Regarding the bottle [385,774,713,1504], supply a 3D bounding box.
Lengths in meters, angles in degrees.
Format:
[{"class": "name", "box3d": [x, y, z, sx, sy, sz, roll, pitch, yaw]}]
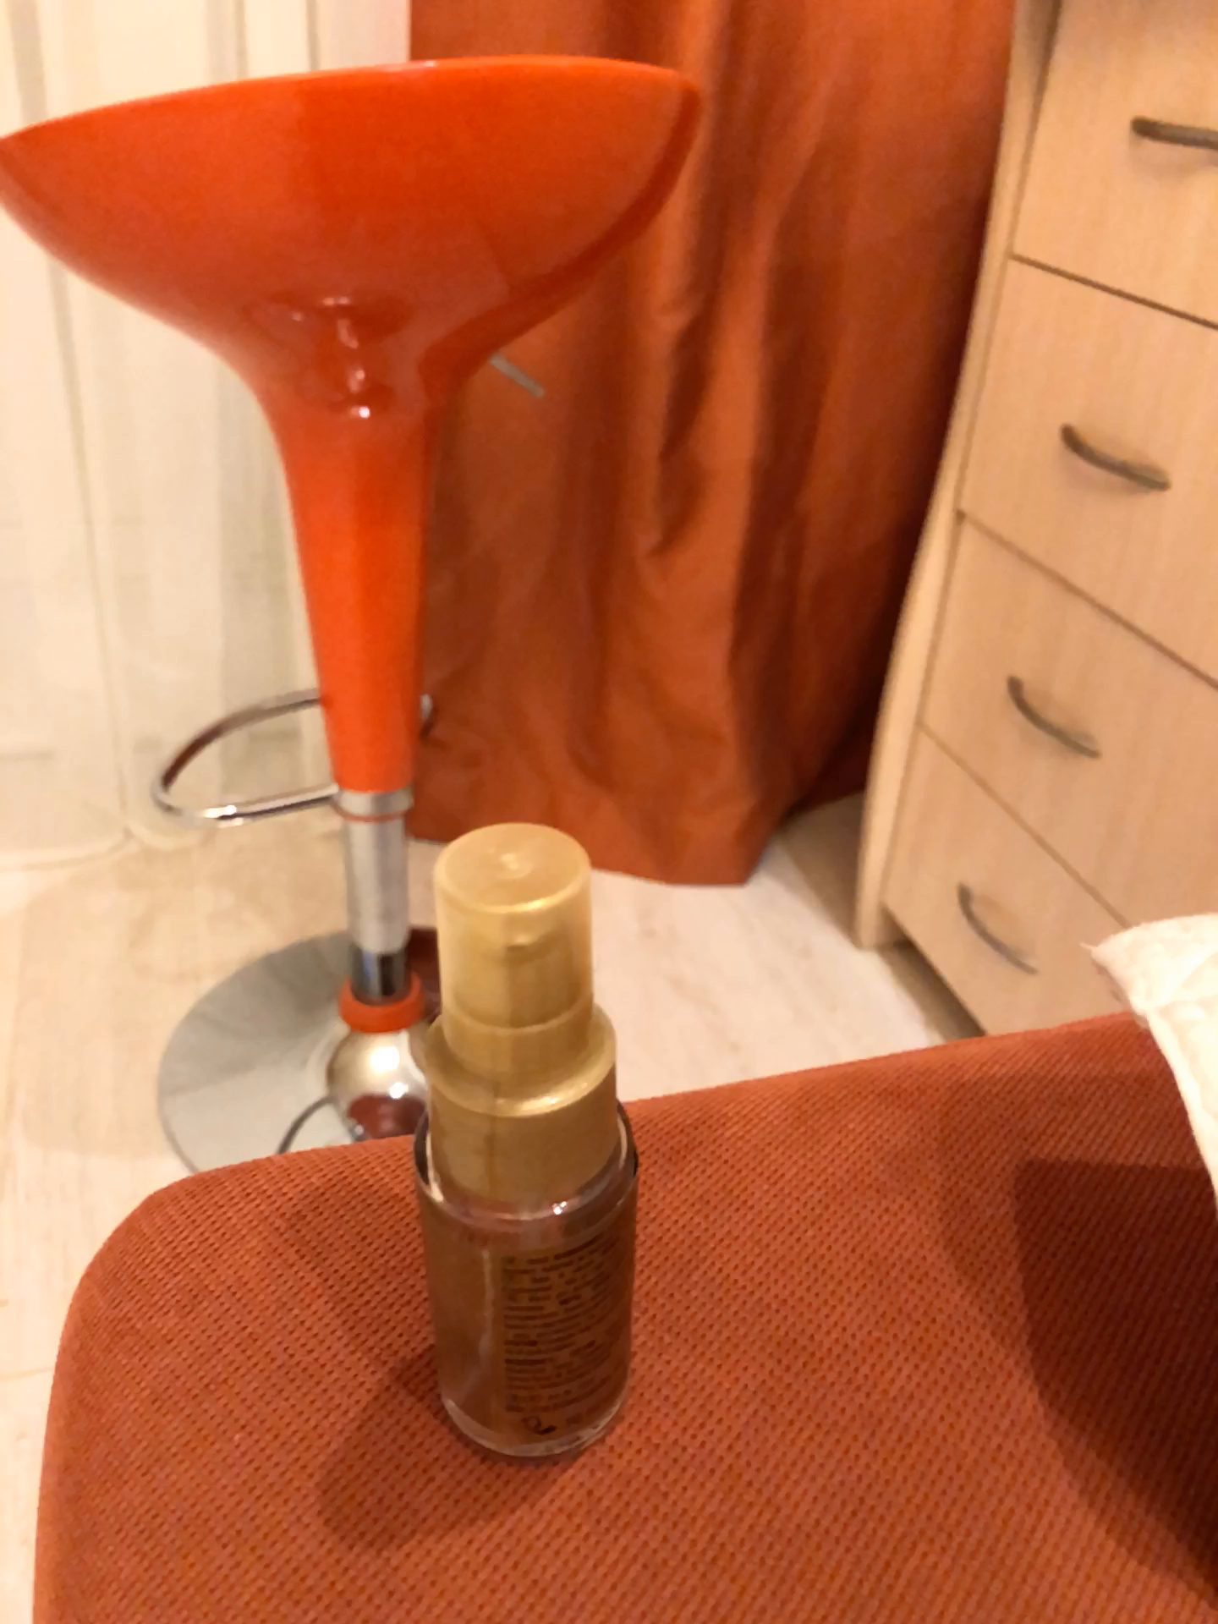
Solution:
[{"class": "bottle", "box3d": [-0.010, 0.052, 0.207, 0.033, 0.106, 0.035, 3, 30, -2]}]
